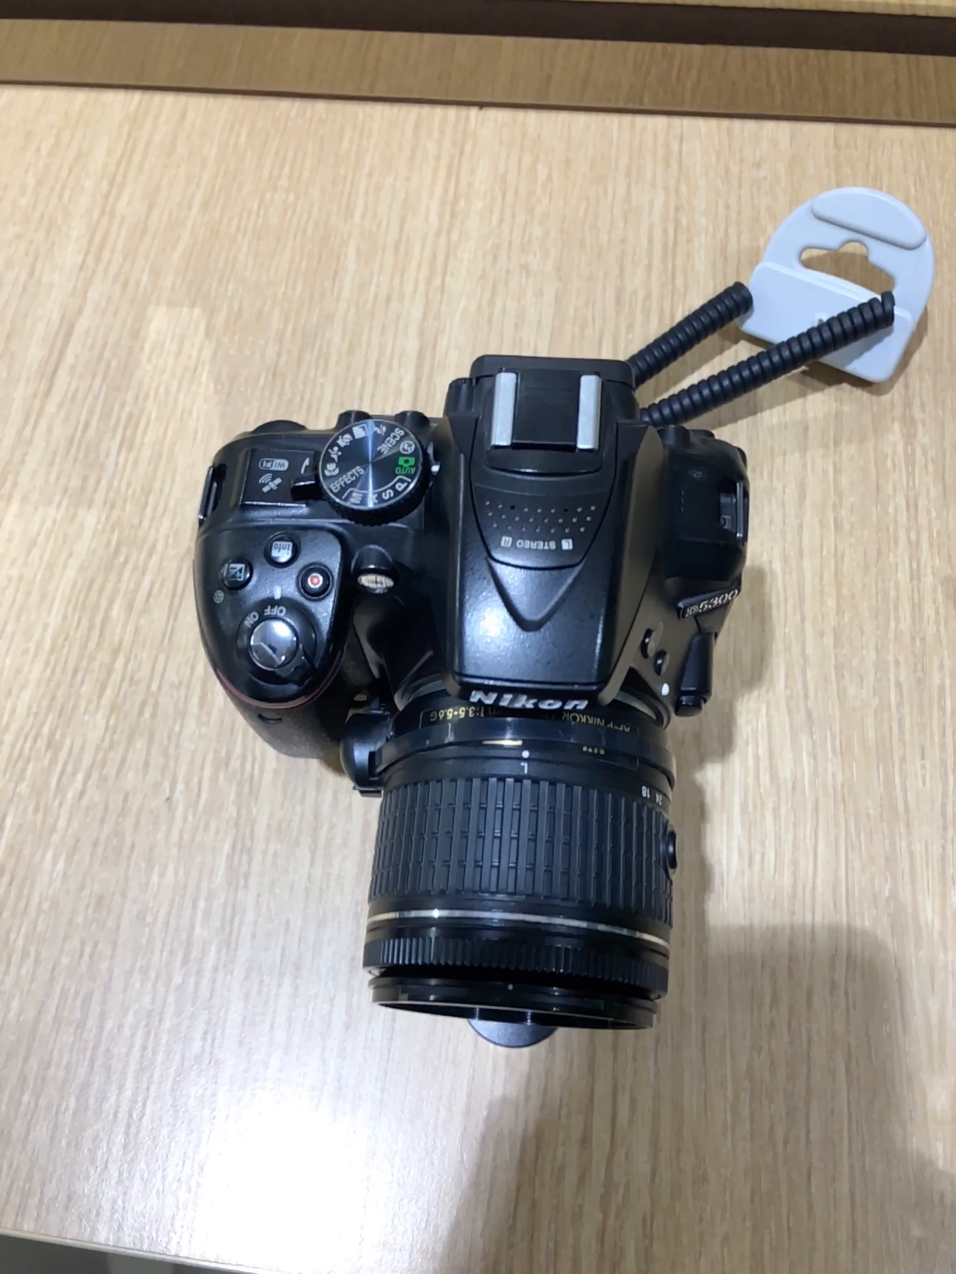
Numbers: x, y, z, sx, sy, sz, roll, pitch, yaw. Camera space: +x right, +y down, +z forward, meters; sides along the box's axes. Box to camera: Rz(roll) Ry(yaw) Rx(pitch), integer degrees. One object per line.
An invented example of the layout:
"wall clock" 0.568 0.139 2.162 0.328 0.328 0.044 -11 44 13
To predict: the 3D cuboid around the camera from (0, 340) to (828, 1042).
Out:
"camera" -0.005 0.018 0.220 0.120 0.103 0.110 3 67 5
